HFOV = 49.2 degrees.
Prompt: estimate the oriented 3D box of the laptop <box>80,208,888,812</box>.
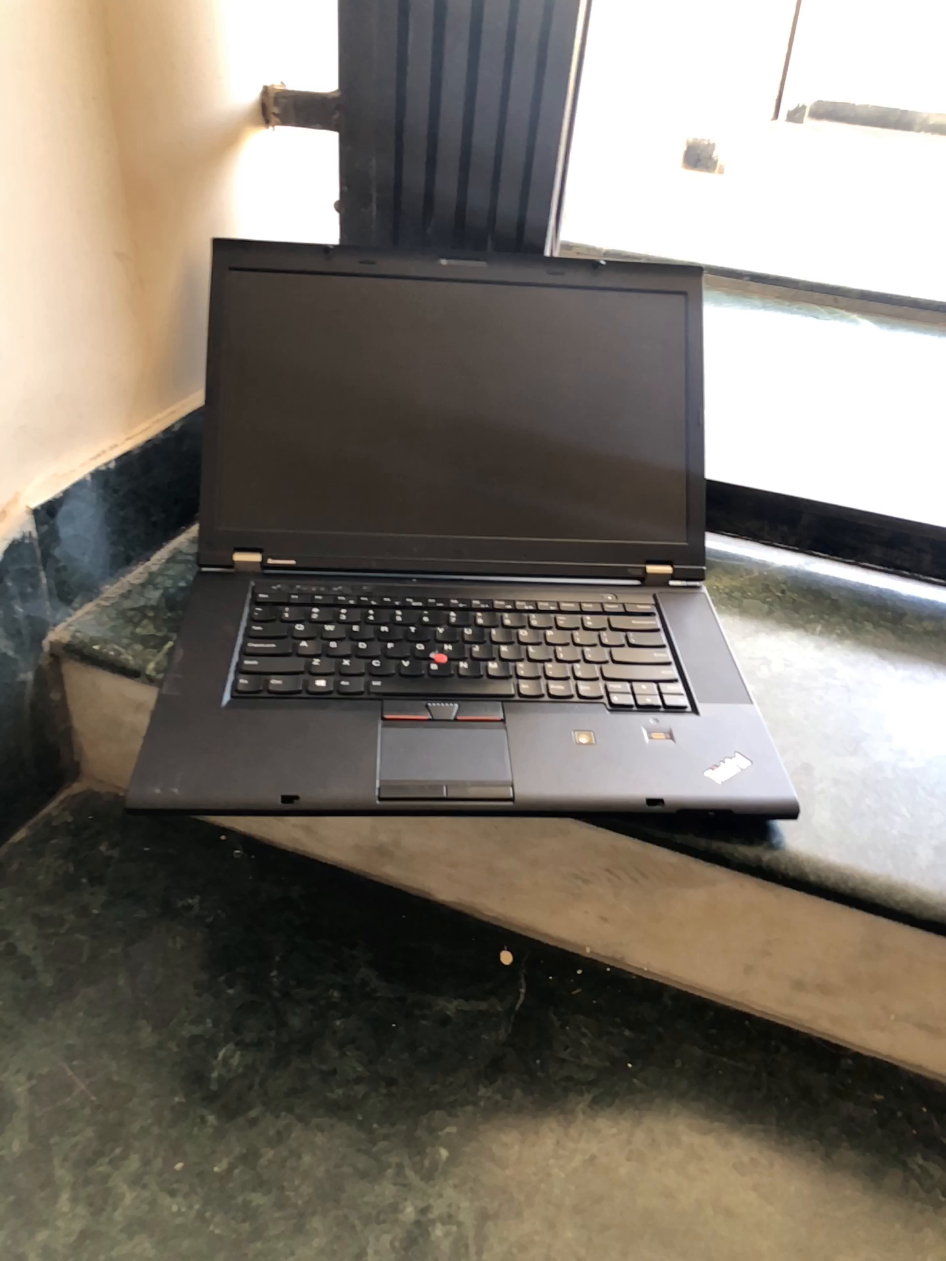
[{"bbox_3d":[-0.005,-0.103,0.656,0.359,0.181,0.390,2,37,-5],"label":"laptop"}]
